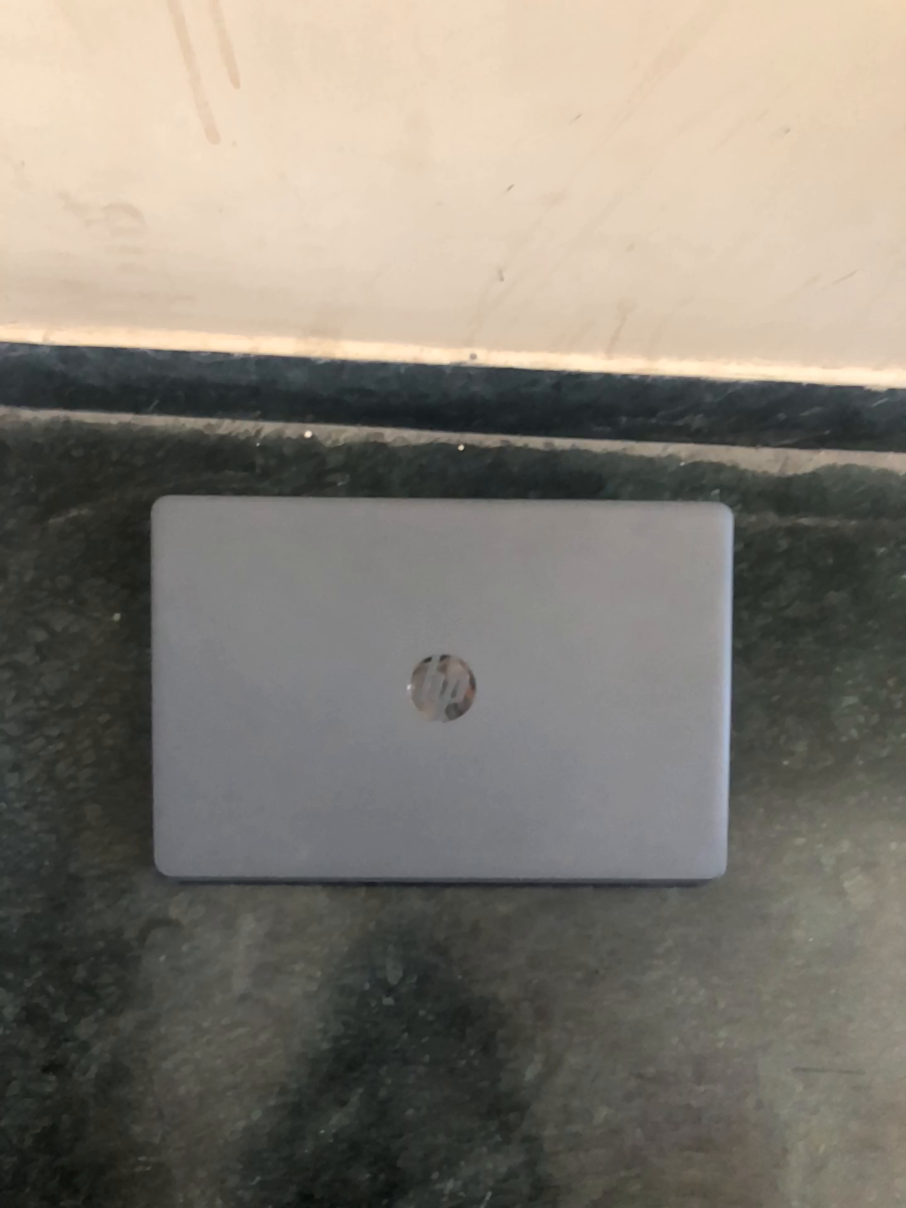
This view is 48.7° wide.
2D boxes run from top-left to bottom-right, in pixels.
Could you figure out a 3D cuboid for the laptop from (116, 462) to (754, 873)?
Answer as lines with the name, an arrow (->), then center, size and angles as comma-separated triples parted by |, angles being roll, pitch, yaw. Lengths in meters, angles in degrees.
laptop -> -0.010, 0.043, 0.639 | 0.357, 0.092, 0.243 | 0, 74, -1
